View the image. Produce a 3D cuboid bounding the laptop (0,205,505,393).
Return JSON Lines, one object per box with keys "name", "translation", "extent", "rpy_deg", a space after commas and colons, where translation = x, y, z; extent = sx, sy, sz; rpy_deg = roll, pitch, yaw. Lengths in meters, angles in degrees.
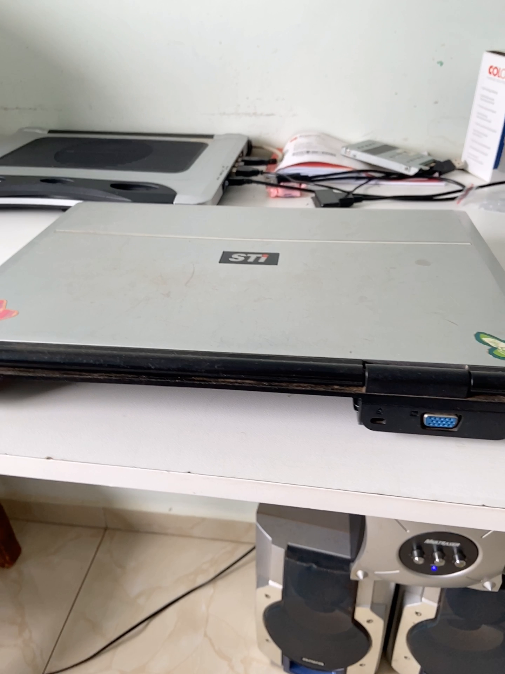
{"name": "laptop", "translation": [-0.006, -0.047, 0.362], "extent": [0.338, 0.004, 0.235], "rpy_deg": [3, 33, 7]}
